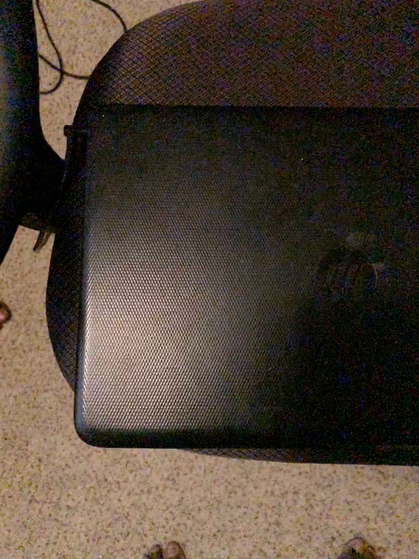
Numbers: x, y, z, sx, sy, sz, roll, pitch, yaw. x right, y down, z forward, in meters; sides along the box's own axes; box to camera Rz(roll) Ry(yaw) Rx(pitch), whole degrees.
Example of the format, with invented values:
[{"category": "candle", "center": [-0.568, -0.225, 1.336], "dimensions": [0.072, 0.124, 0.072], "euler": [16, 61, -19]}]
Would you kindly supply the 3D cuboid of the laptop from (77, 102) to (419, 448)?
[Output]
[{"category": "laptop", "center": [0.100, -0.005, 0.329], "dimensions": [0.378, 0.018, 0.245], "euler": [1, 84, -5]}]
